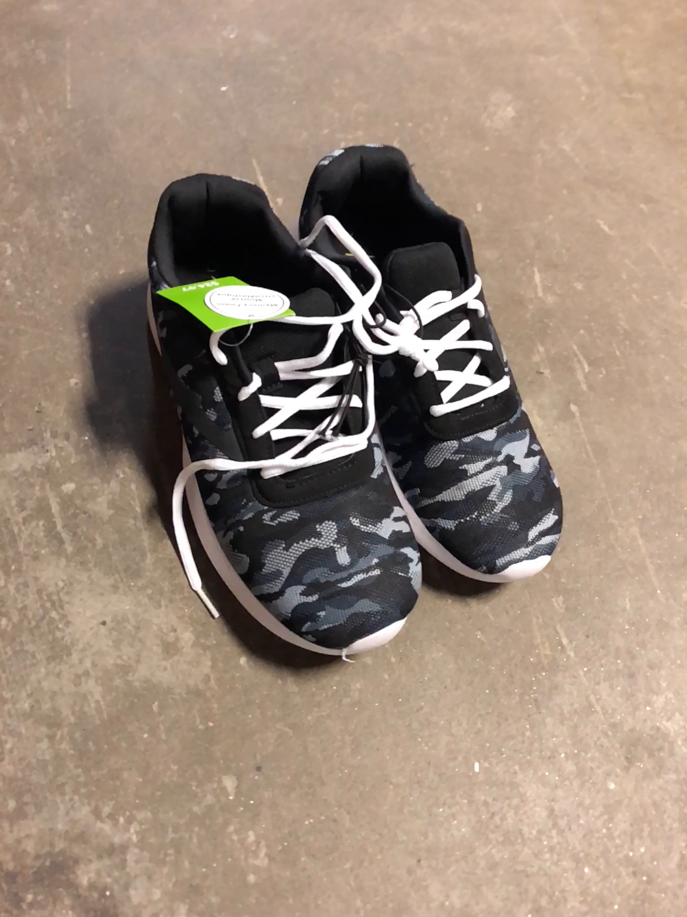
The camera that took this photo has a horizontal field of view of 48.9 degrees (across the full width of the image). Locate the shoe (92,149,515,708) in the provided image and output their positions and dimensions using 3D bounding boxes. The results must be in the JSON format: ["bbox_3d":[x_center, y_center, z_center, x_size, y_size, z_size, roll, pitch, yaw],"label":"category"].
[{"bbox_3d":[-0.039,-0.022,0.424,0.110,0.139,0.261,-18,64,-19],"label":"shoe"}]

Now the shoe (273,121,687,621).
[{"bbox_3d":[0.066,-0.060,0.474,0.120,0.139,0.261,-18,64,-19],"label":"shoe"}]
